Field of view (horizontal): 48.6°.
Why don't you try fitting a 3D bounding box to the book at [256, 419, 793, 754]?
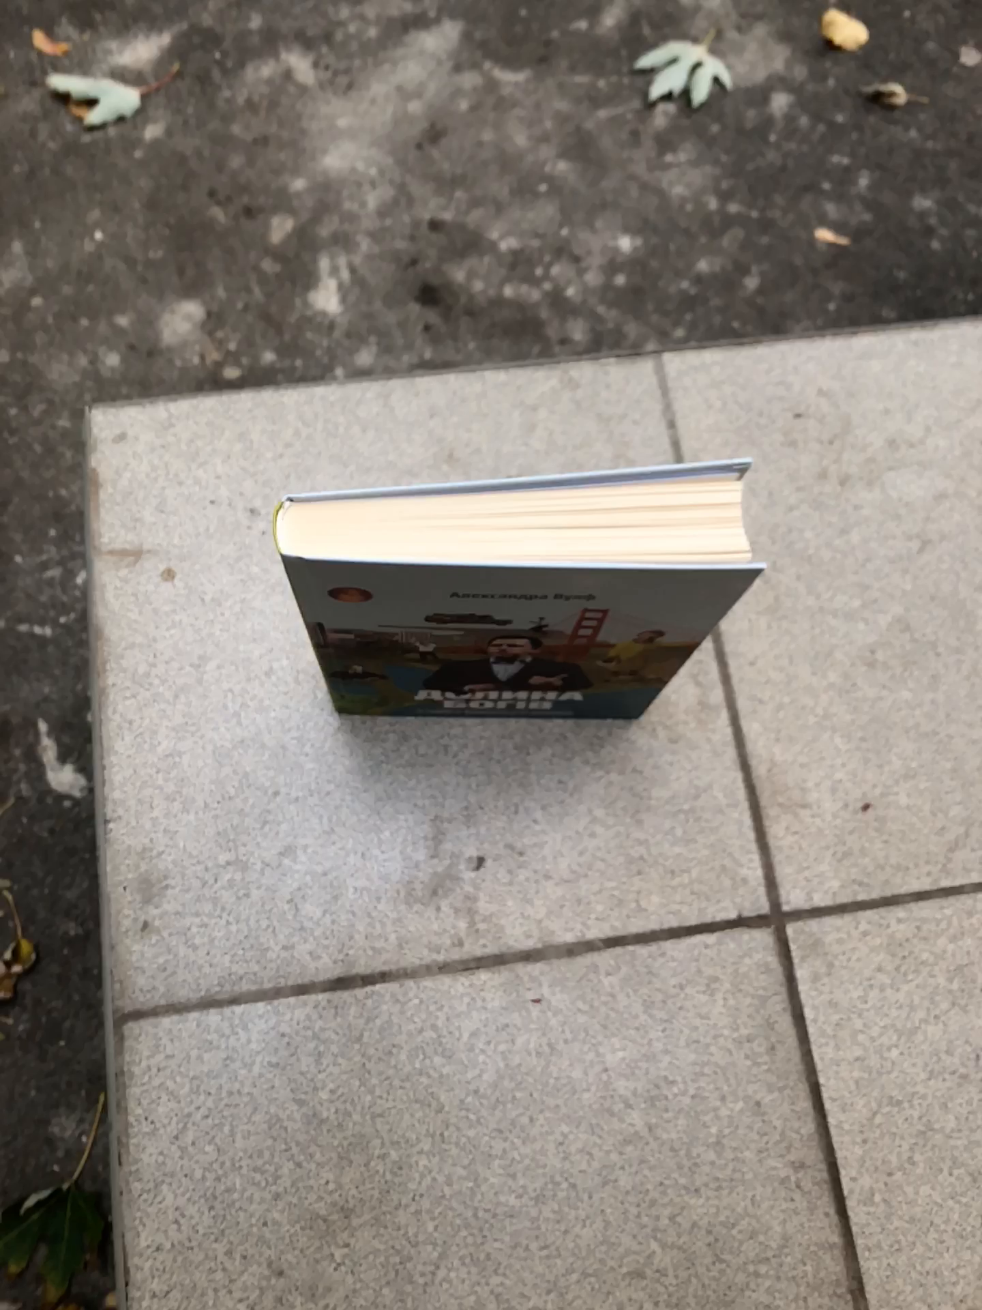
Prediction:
[{"bbox_3d":[0.006,-0.014,0.431,0.160,0.208,0.044,-5,72,-4],"label":"book"}]
